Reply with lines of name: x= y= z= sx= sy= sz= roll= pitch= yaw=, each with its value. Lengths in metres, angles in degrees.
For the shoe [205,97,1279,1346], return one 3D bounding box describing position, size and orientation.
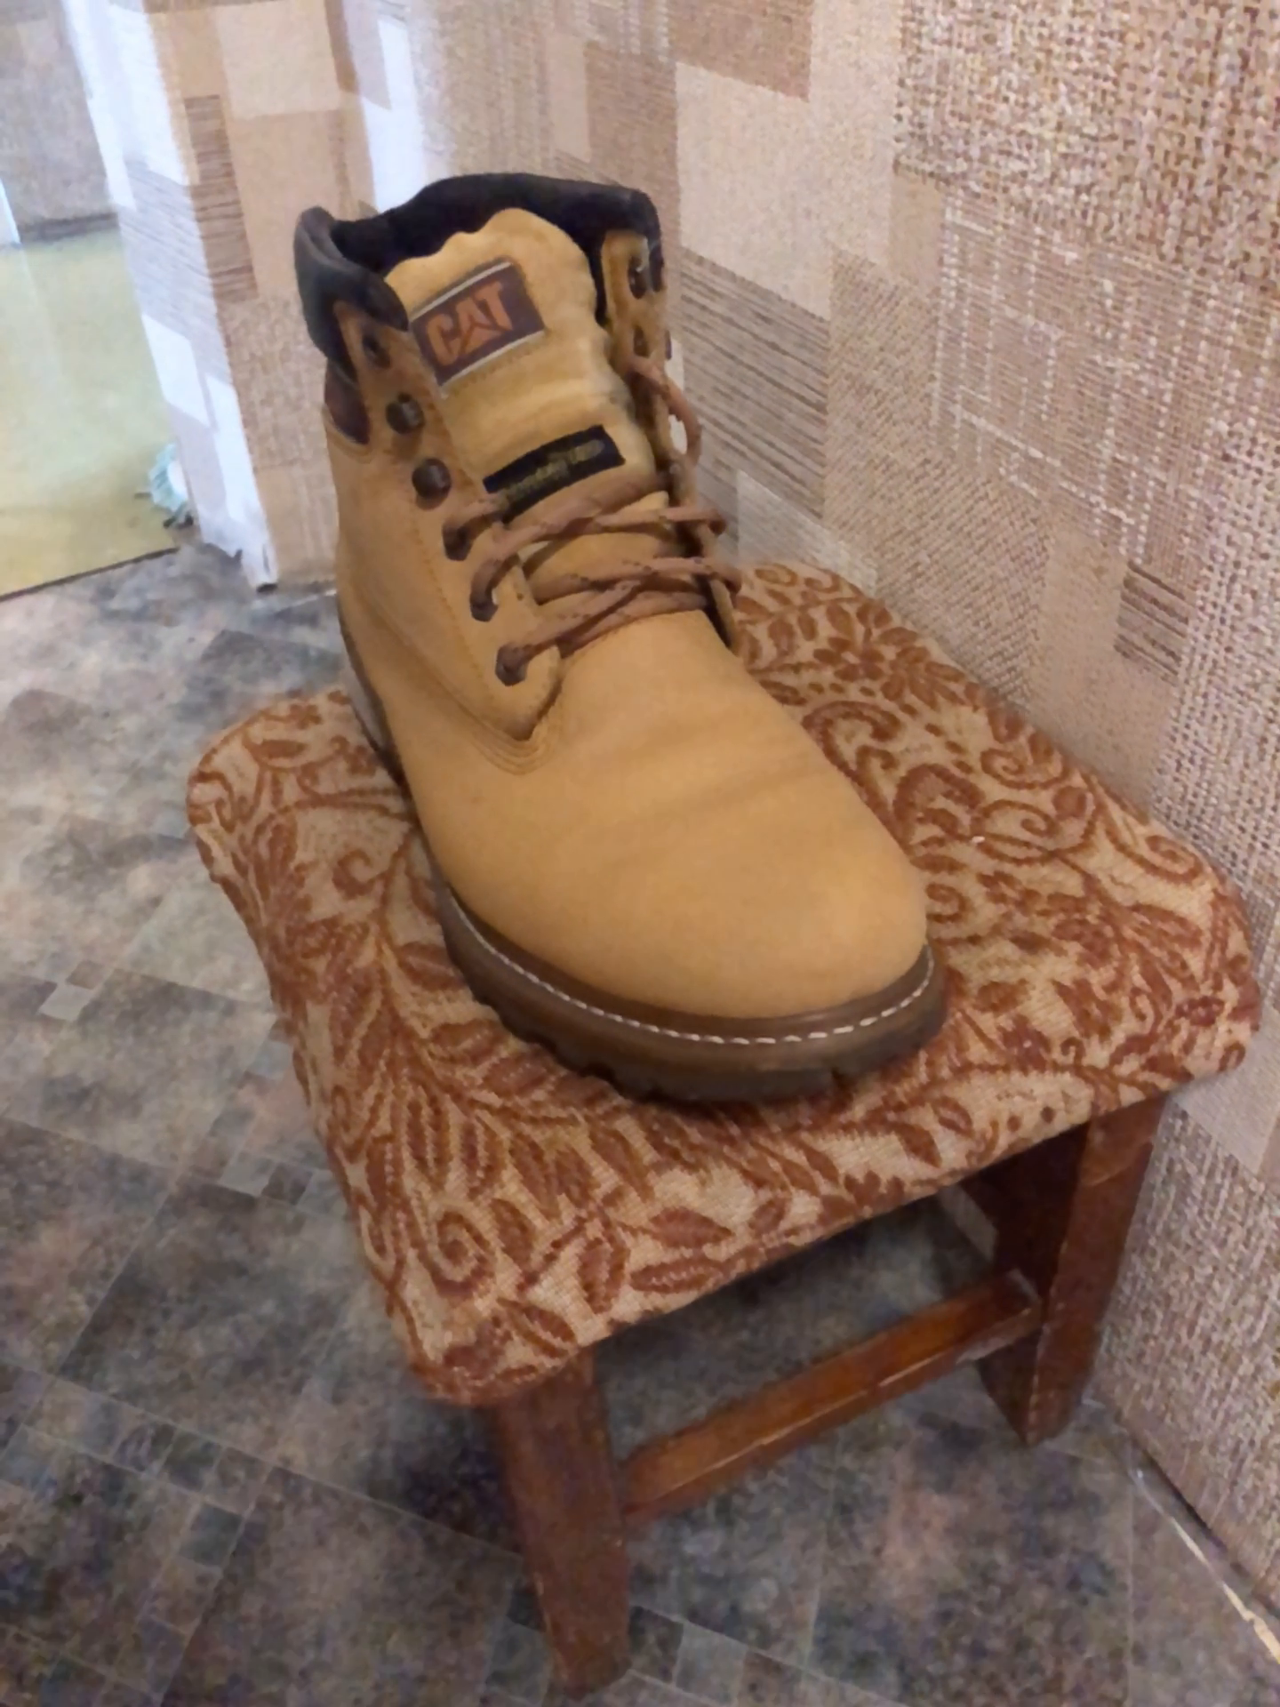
shoe: x=0.010 y=-0.068 z=0.396 sx=0.140 sy=0.189 sz=0.311 roll=-20 pitch=43 yaw=-21
